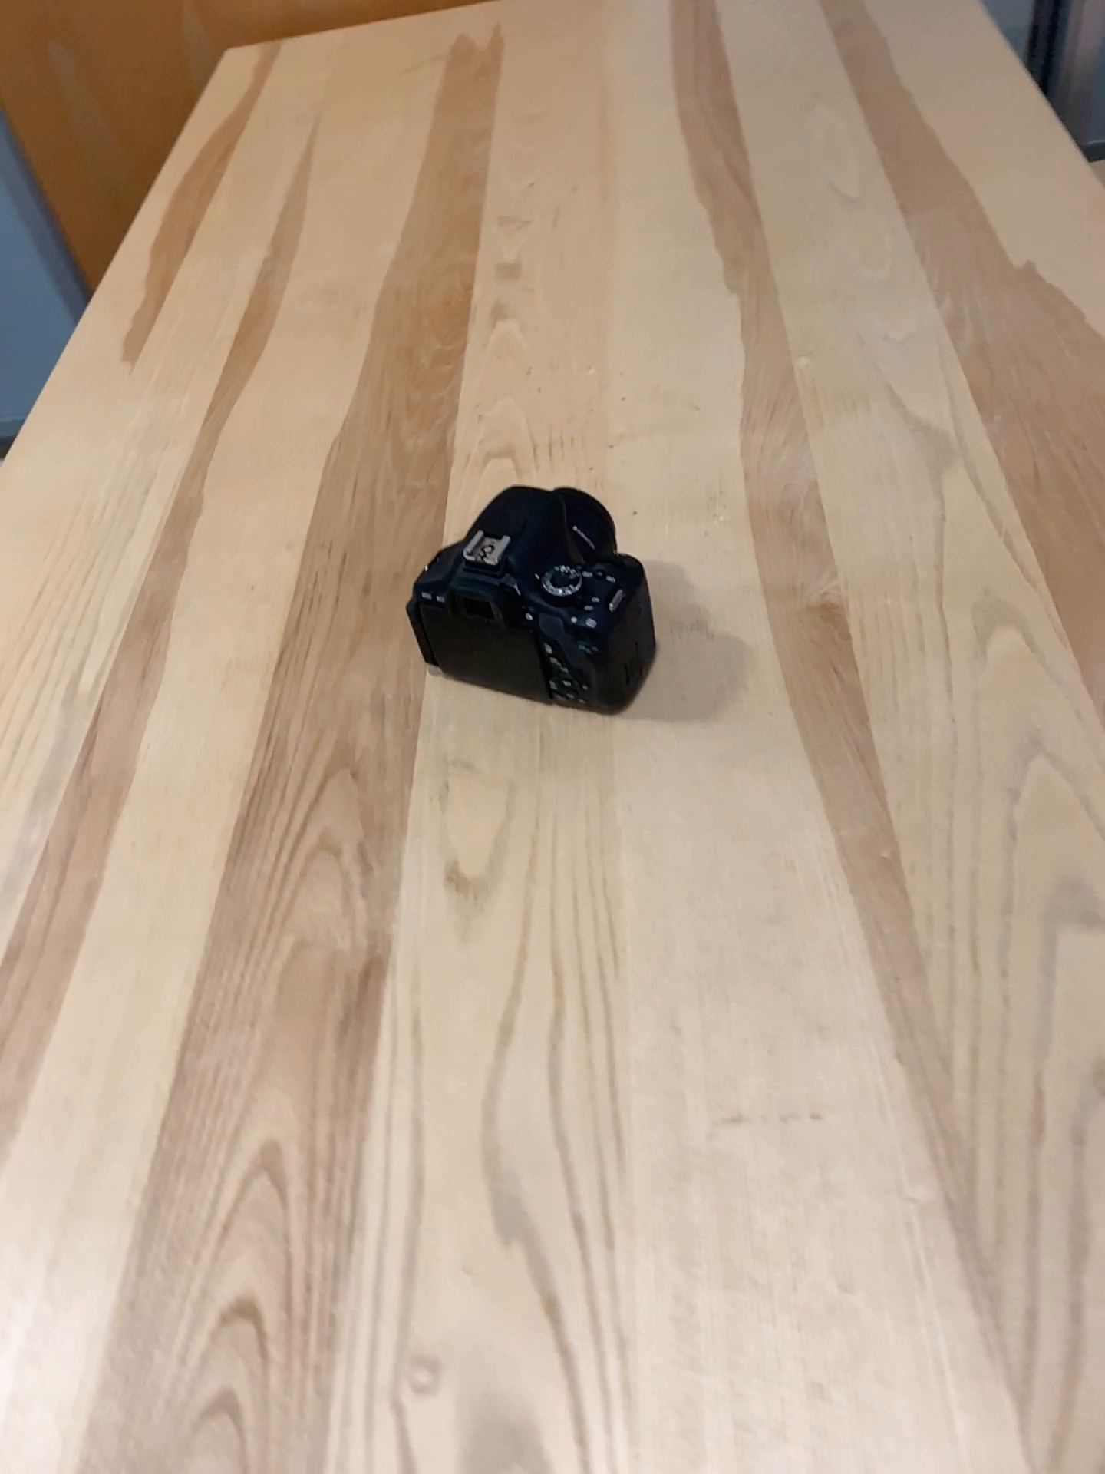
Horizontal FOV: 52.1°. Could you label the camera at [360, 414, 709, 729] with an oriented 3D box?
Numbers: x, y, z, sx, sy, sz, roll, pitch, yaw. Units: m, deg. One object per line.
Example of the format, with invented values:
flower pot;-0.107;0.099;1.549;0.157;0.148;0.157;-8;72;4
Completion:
camera;-0.004;-0.097;0.638;0.145;0.100;0.120;14;54;23
